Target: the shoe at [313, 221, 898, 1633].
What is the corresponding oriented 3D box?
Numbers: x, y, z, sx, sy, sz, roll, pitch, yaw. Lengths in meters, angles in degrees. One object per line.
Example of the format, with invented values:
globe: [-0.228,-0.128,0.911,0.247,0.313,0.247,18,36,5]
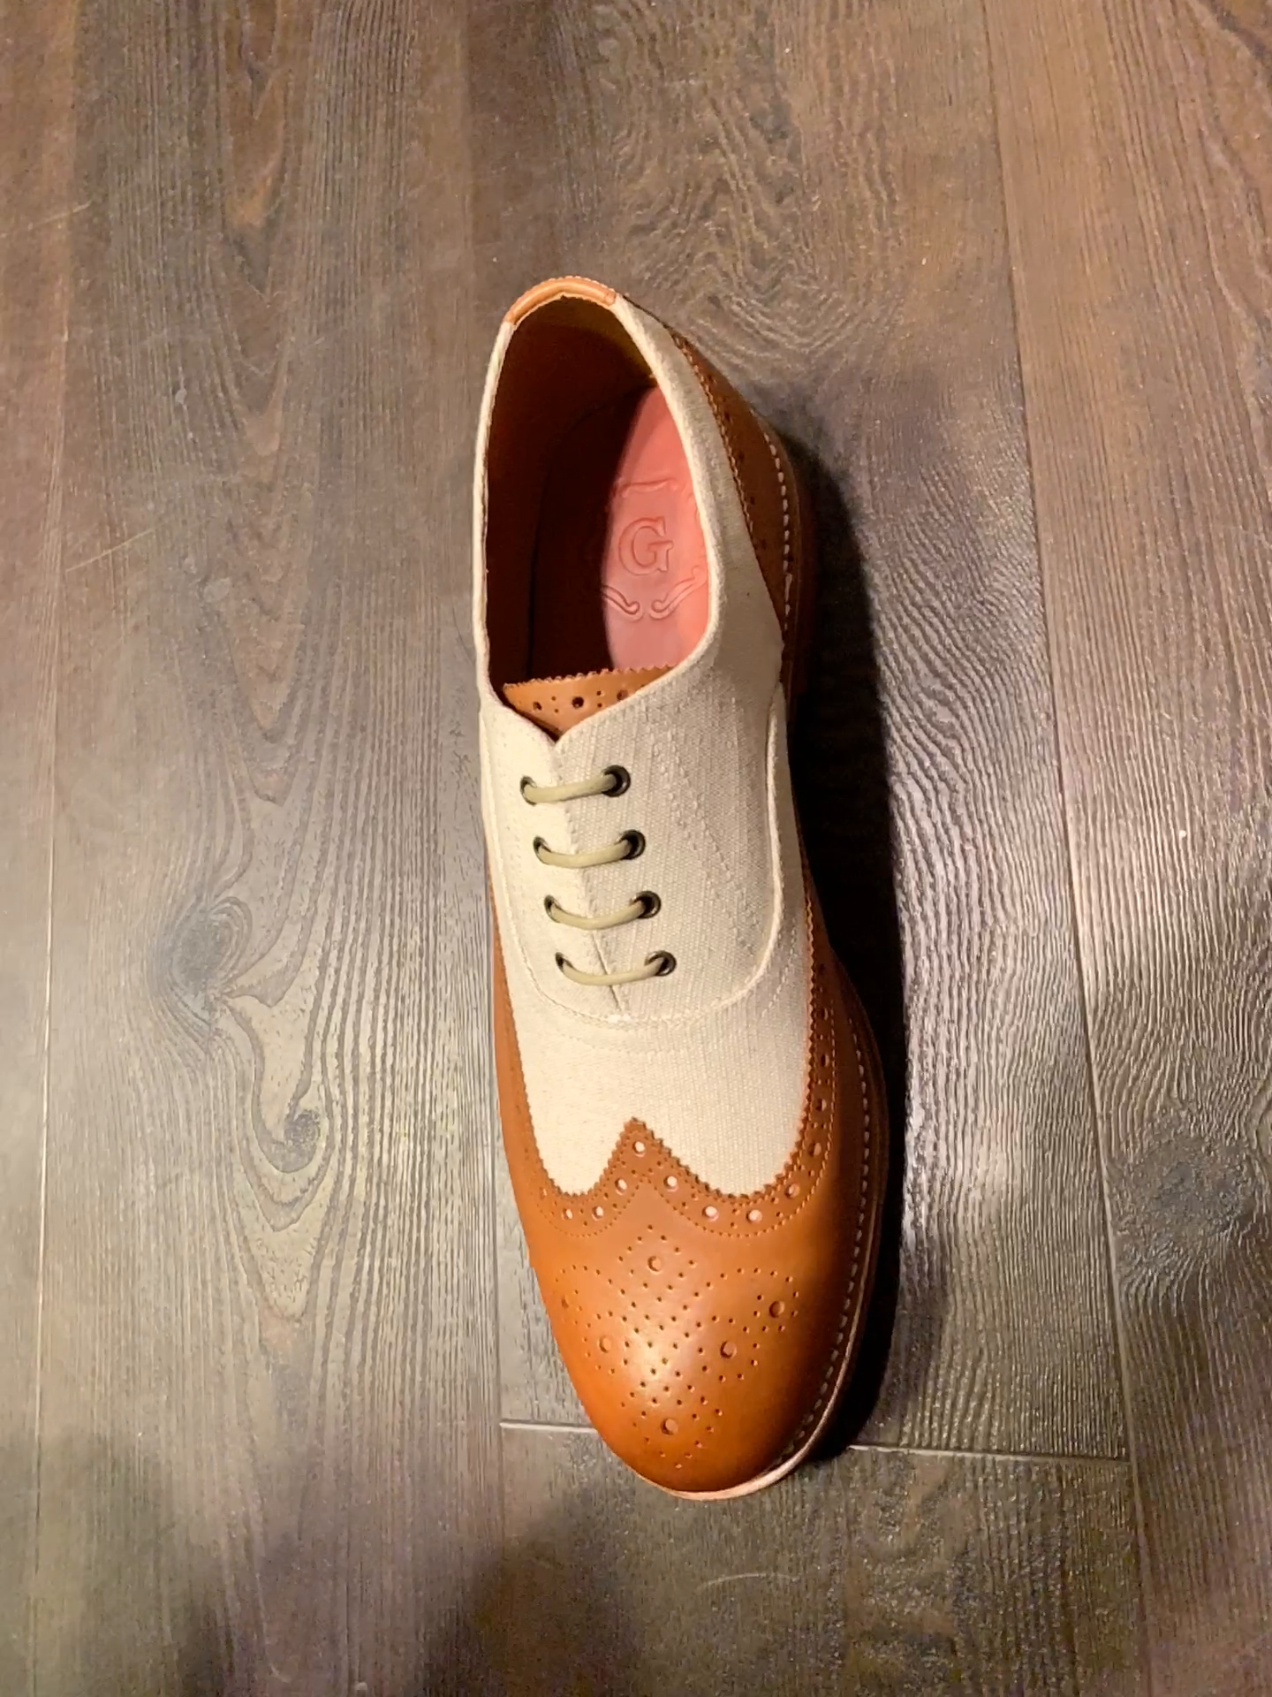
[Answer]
shoe: [-0.001,0.015,0.352,0.110,0.120,0.300,-4,81,21]
